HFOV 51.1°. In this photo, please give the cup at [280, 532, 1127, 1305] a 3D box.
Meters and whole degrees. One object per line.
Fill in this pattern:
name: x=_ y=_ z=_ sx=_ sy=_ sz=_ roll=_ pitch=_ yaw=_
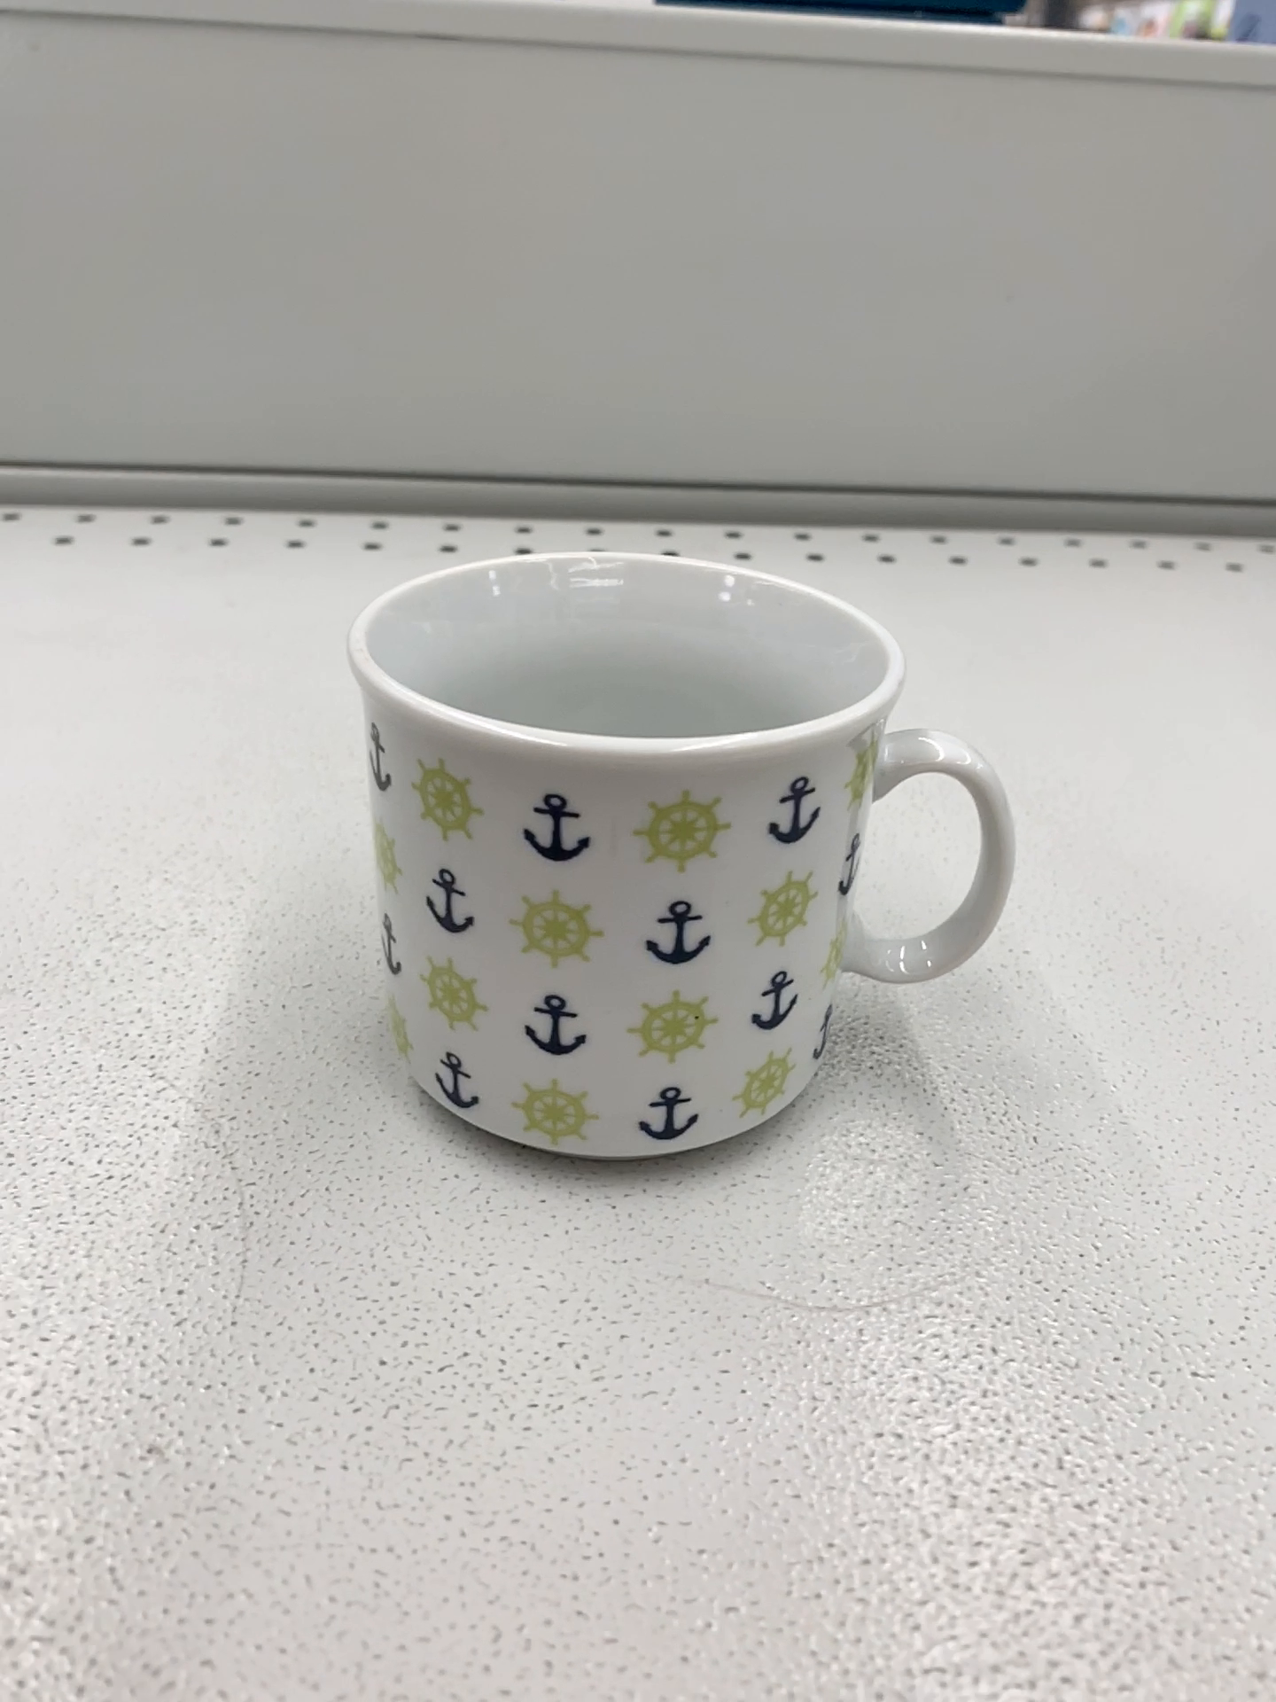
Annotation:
cup: x=0.002 y=0.002 z=0.202 sx=0.096 sy=0.076 sz=0.078 roll=-7 pitch=29 yaw=-17
